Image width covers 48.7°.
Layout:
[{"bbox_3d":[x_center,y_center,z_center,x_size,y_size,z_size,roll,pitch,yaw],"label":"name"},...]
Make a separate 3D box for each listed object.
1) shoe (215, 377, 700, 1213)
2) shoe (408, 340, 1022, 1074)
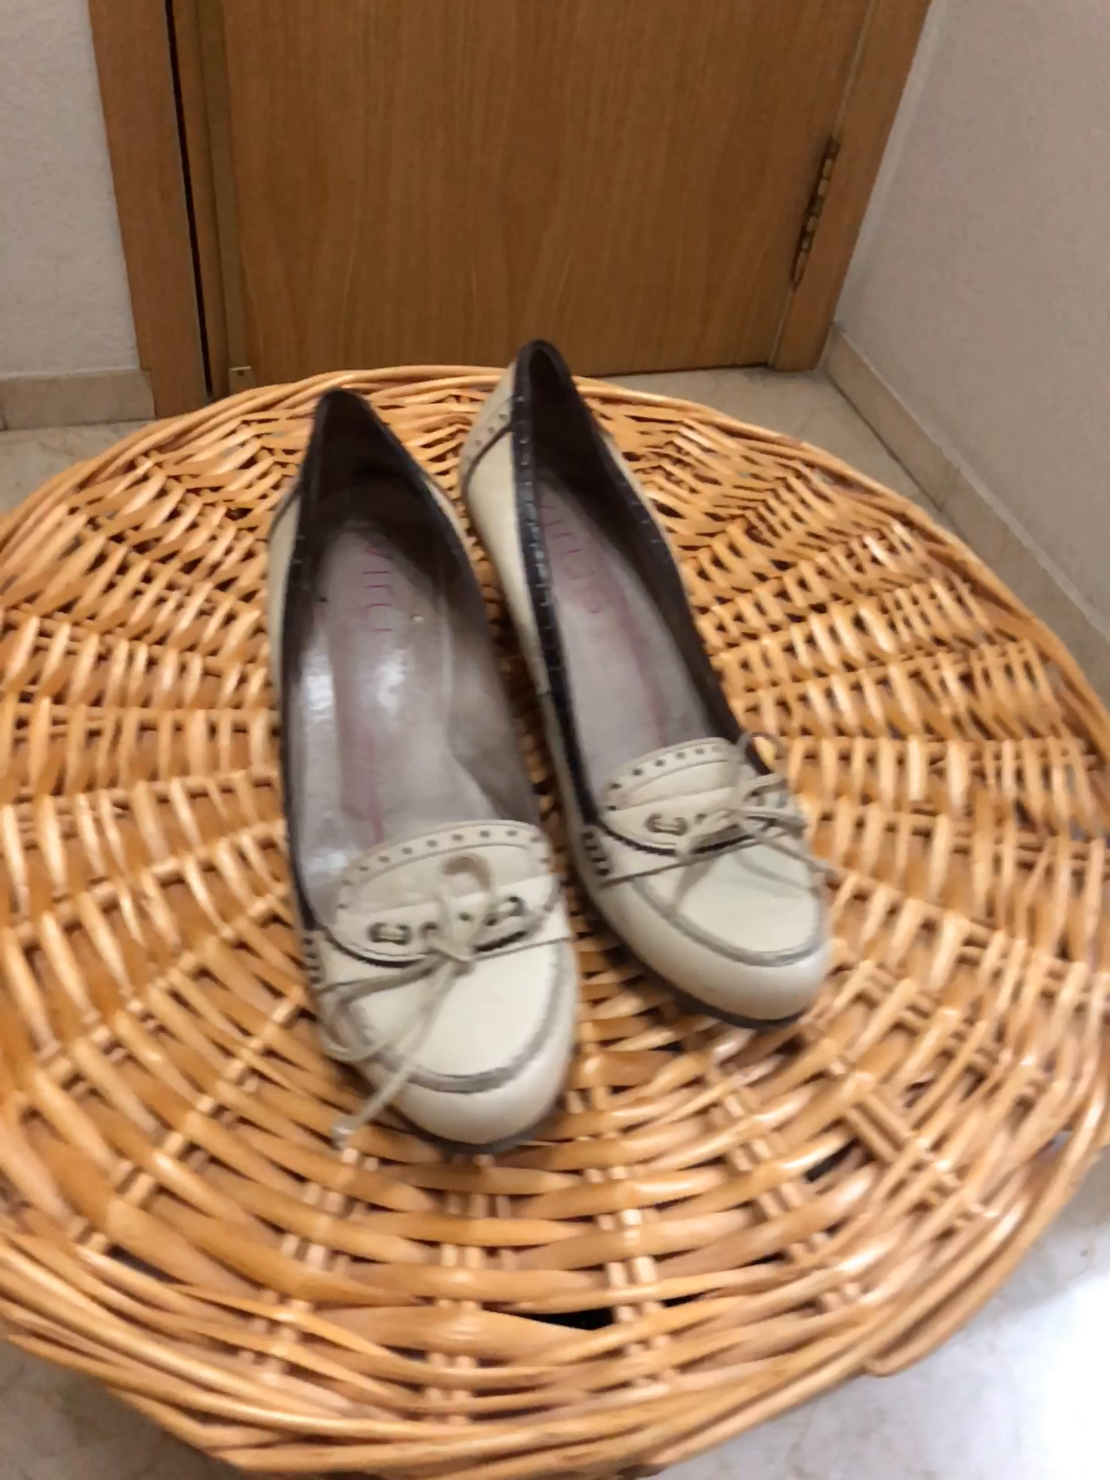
[{"bbox_3d":[-0.047,0.001,0.417,0.100,0.110,0.261,-9,50,-11],"label":"shoe"},{"bbox_3d":[0.036,-0.029,0.447,0.100,0.090,0.261,-15,52,-16],"label":"shoe"}]
